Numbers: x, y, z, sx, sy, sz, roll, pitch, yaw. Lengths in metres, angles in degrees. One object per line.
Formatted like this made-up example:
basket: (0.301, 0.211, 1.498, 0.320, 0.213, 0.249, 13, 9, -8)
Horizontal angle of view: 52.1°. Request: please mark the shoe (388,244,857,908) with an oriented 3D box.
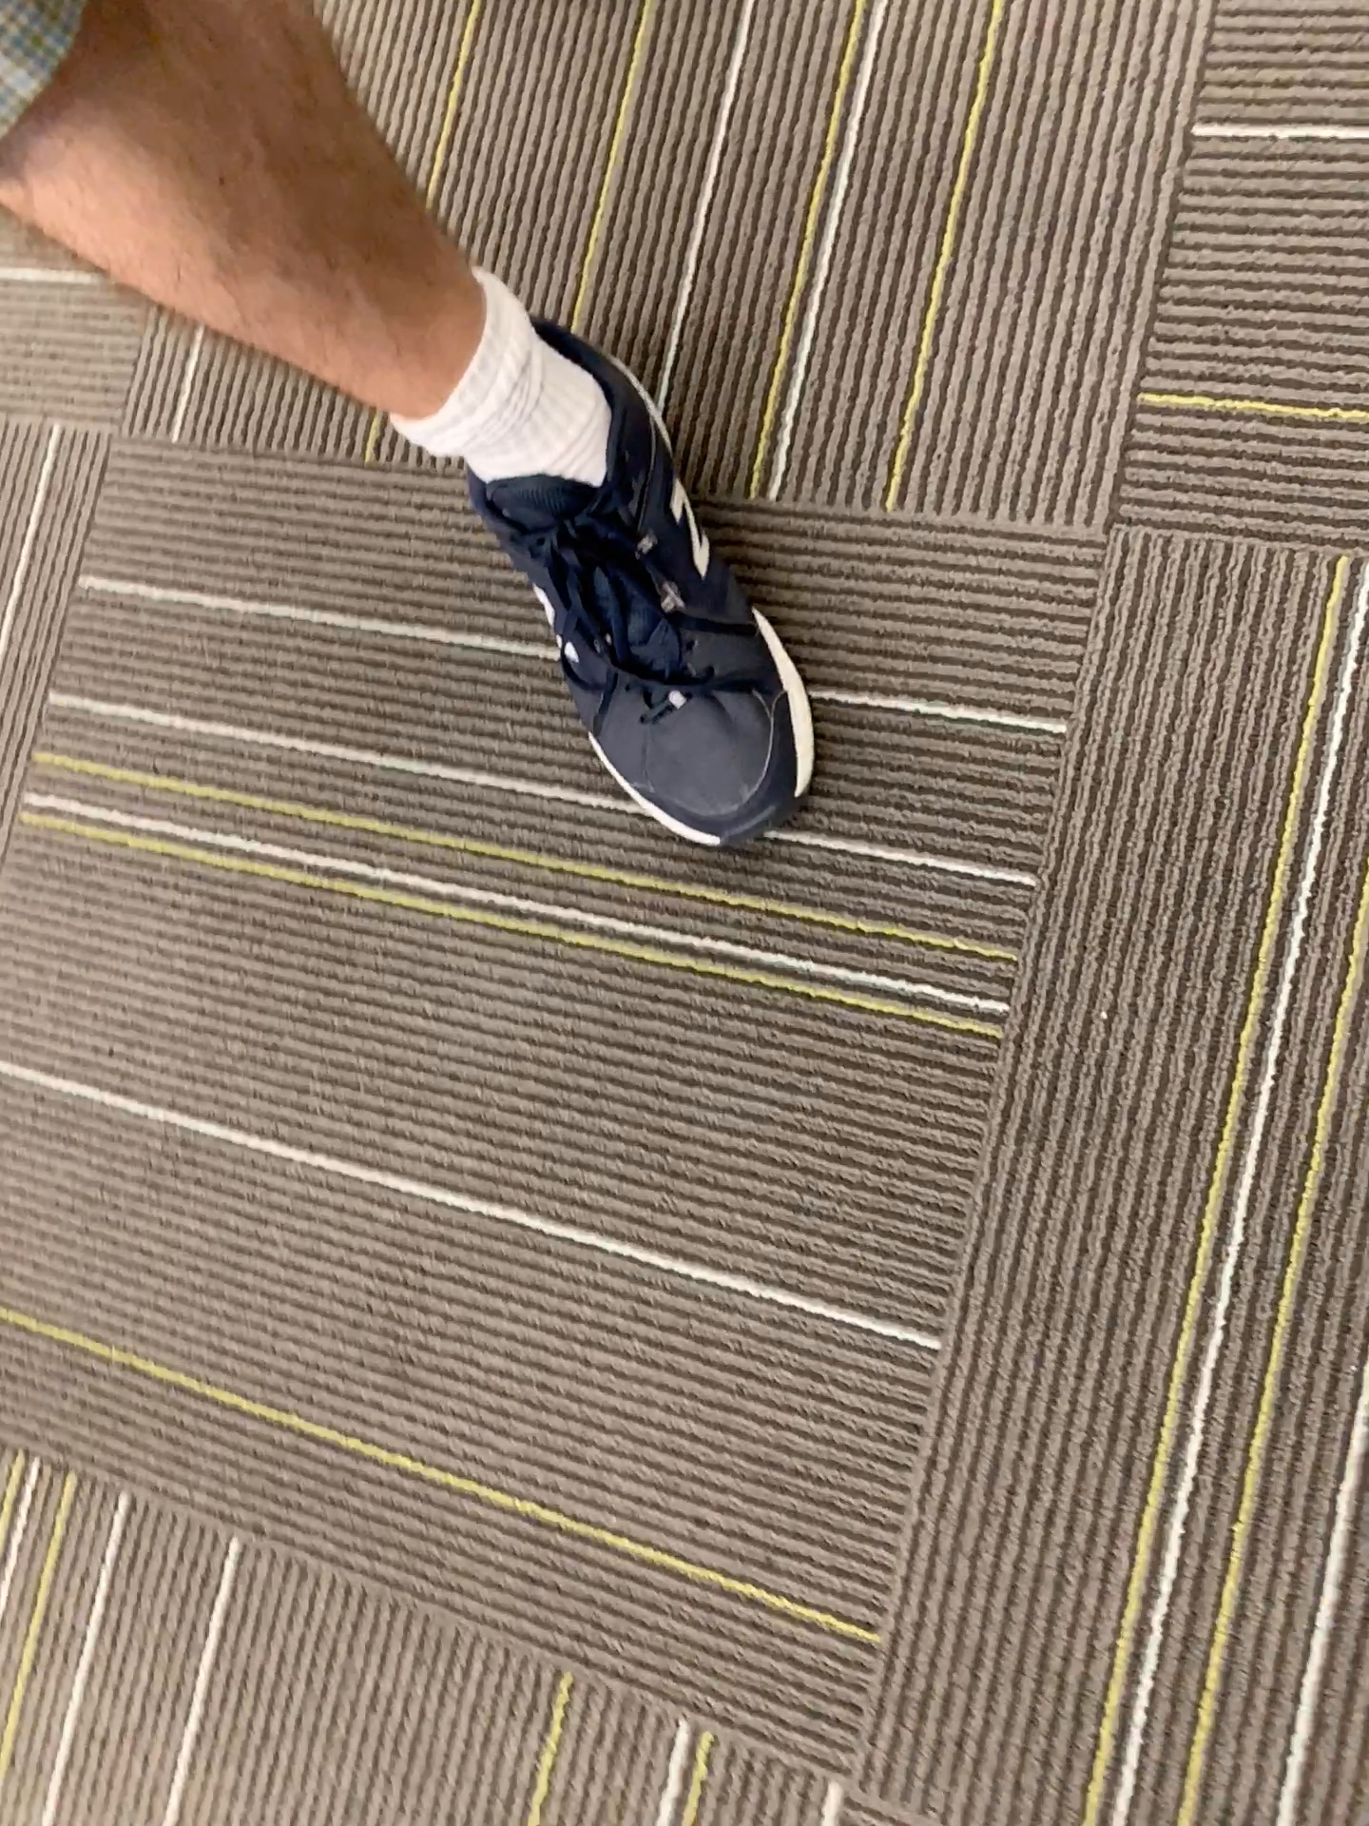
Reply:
shoe: (-0.036, -0.174, 0.735, 0.130, 0.070, 0.310, -25, 76, 14)
